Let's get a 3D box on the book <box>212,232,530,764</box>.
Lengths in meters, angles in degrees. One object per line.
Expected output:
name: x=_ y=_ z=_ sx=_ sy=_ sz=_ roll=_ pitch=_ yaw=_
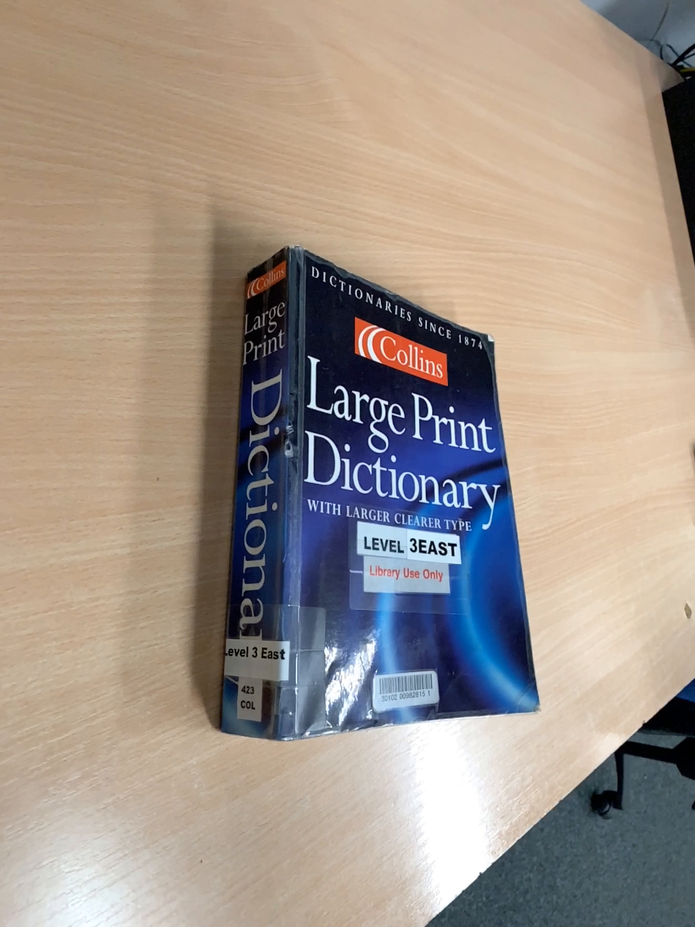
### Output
book: x=0.023 y=0.024 z=0.402 sx=0.189 sy=0.050 sz=0.243 roll=12 pitch=72 yaw=-43
